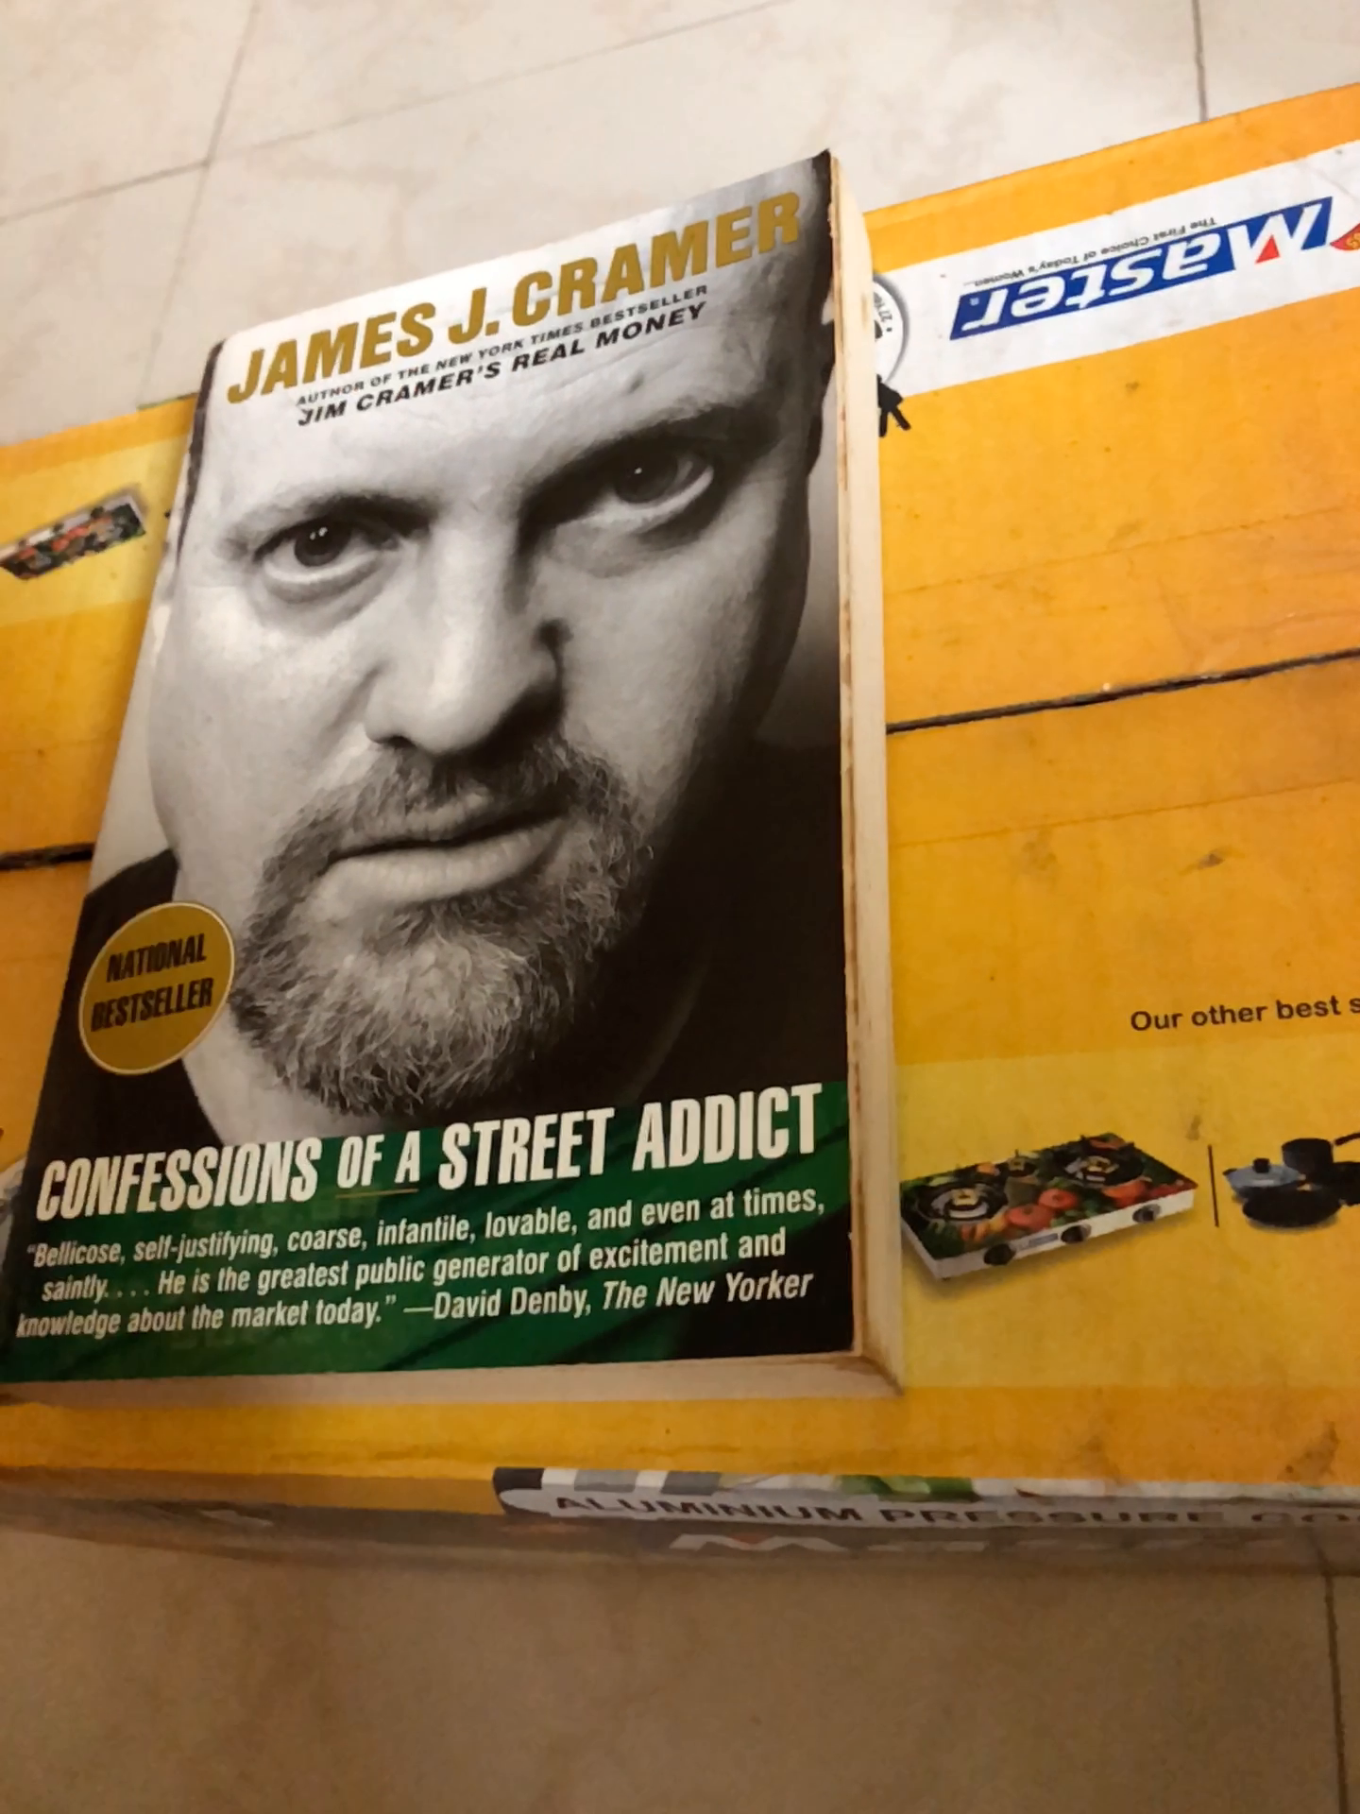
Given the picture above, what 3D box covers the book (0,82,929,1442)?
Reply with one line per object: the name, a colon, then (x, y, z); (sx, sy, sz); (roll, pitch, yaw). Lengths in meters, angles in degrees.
book: (-0.035, -0.033, 0.260); (0.140, 0.030, 0.230); (-8, 61, 19)
